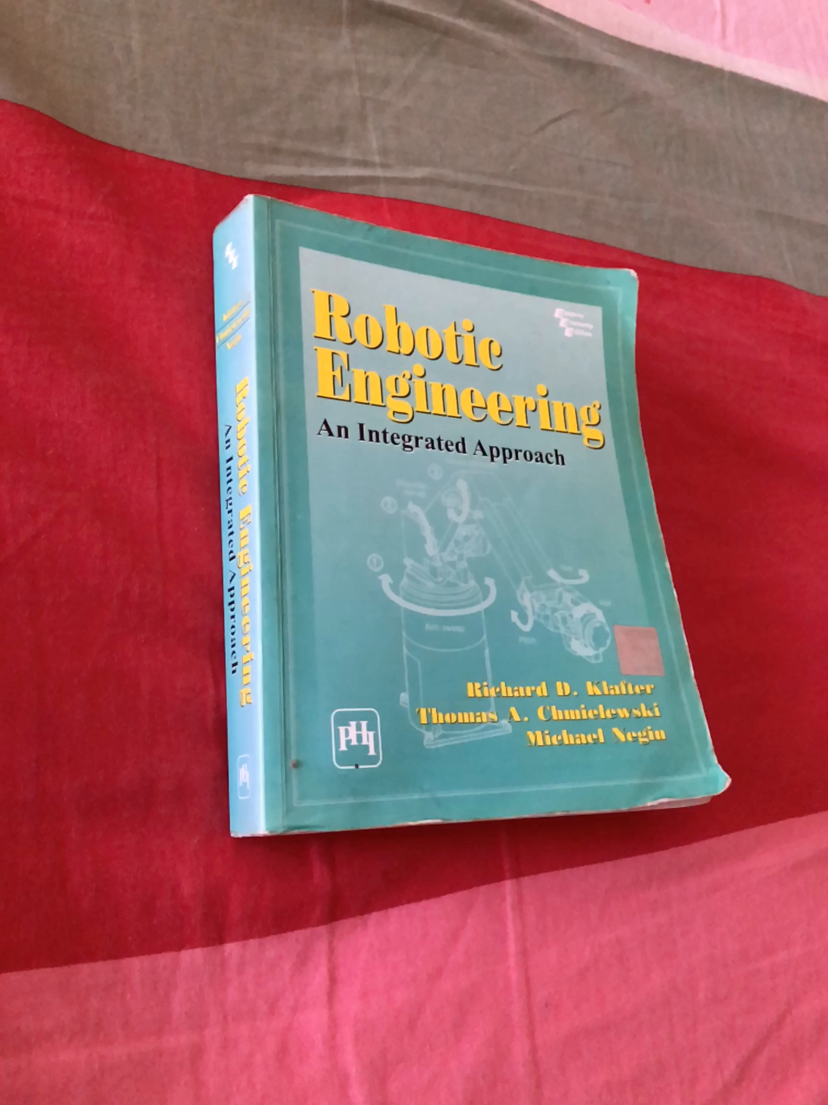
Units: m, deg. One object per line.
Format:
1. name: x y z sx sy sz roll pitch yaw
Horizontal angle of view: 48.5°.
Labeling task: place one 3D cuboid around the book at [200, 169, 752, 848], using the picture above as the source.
1. book: 0.018 -0.013 0.319 0.172 0.043 0.205 4 70 -27
